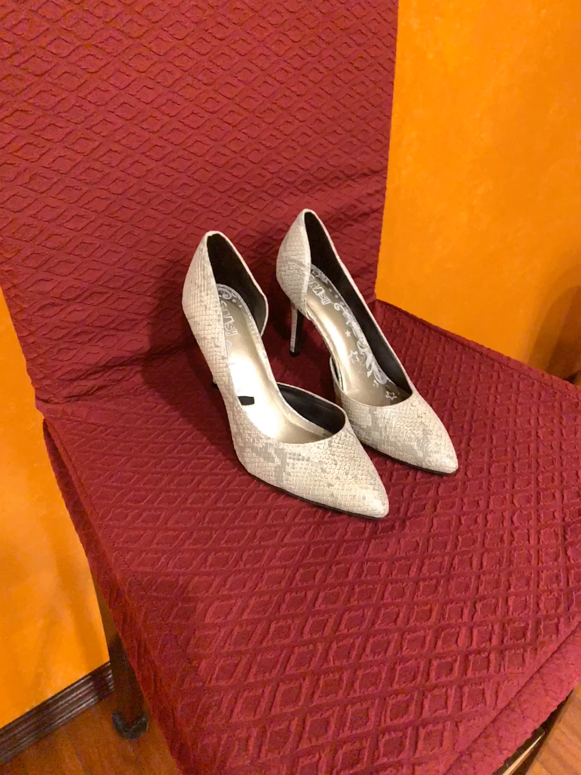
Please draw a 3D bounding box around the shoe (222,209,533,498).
[{"bbox_3d":[0.054,-0.044,0.511,0.090,0.120,0.249,-23,47,-35],"label":"shoe"}]

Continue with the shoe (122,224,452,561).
[{"bbox_3d":[-0.021,-0.013,0.453,0.090,0.119,0.252,-23,47,-35],"label":"shoe"}]
